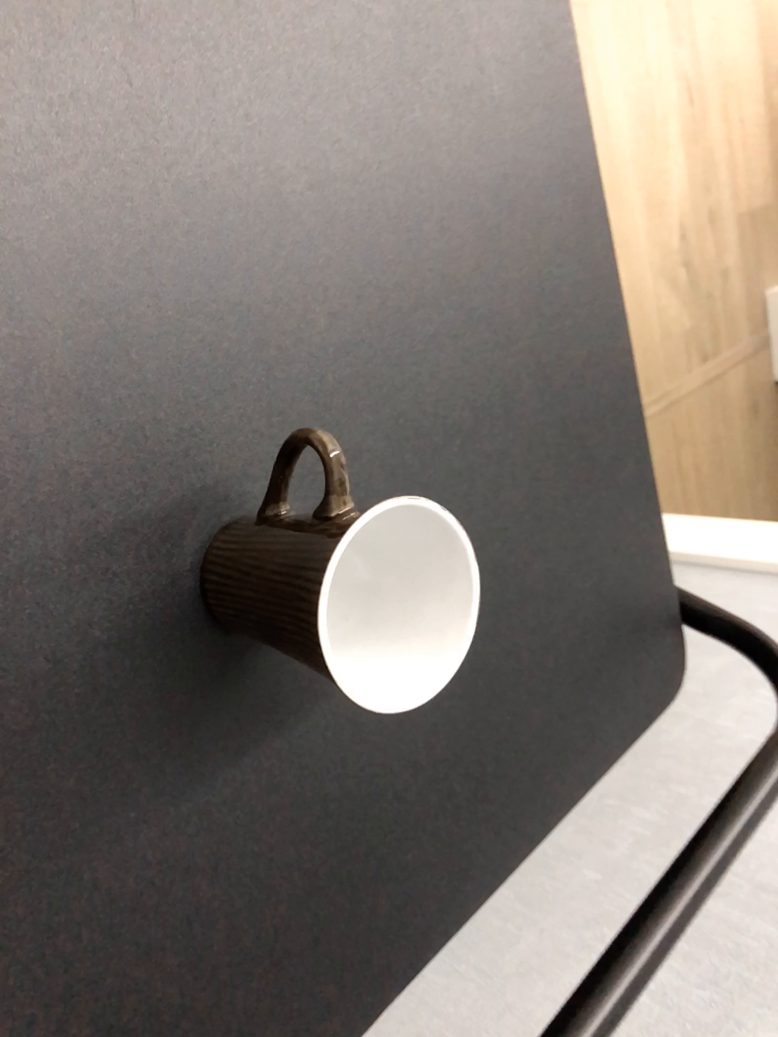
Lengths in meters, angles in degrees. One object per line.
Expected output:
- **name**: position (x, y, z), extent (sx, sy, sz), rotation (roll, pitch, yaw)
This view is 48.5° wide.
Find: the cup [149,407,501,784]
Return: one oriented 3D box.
- **cup**: position (-0.018, 0.017, 0.267), extent (0.066, 0.069, 0.089), rotation (-21, 108, -39)
